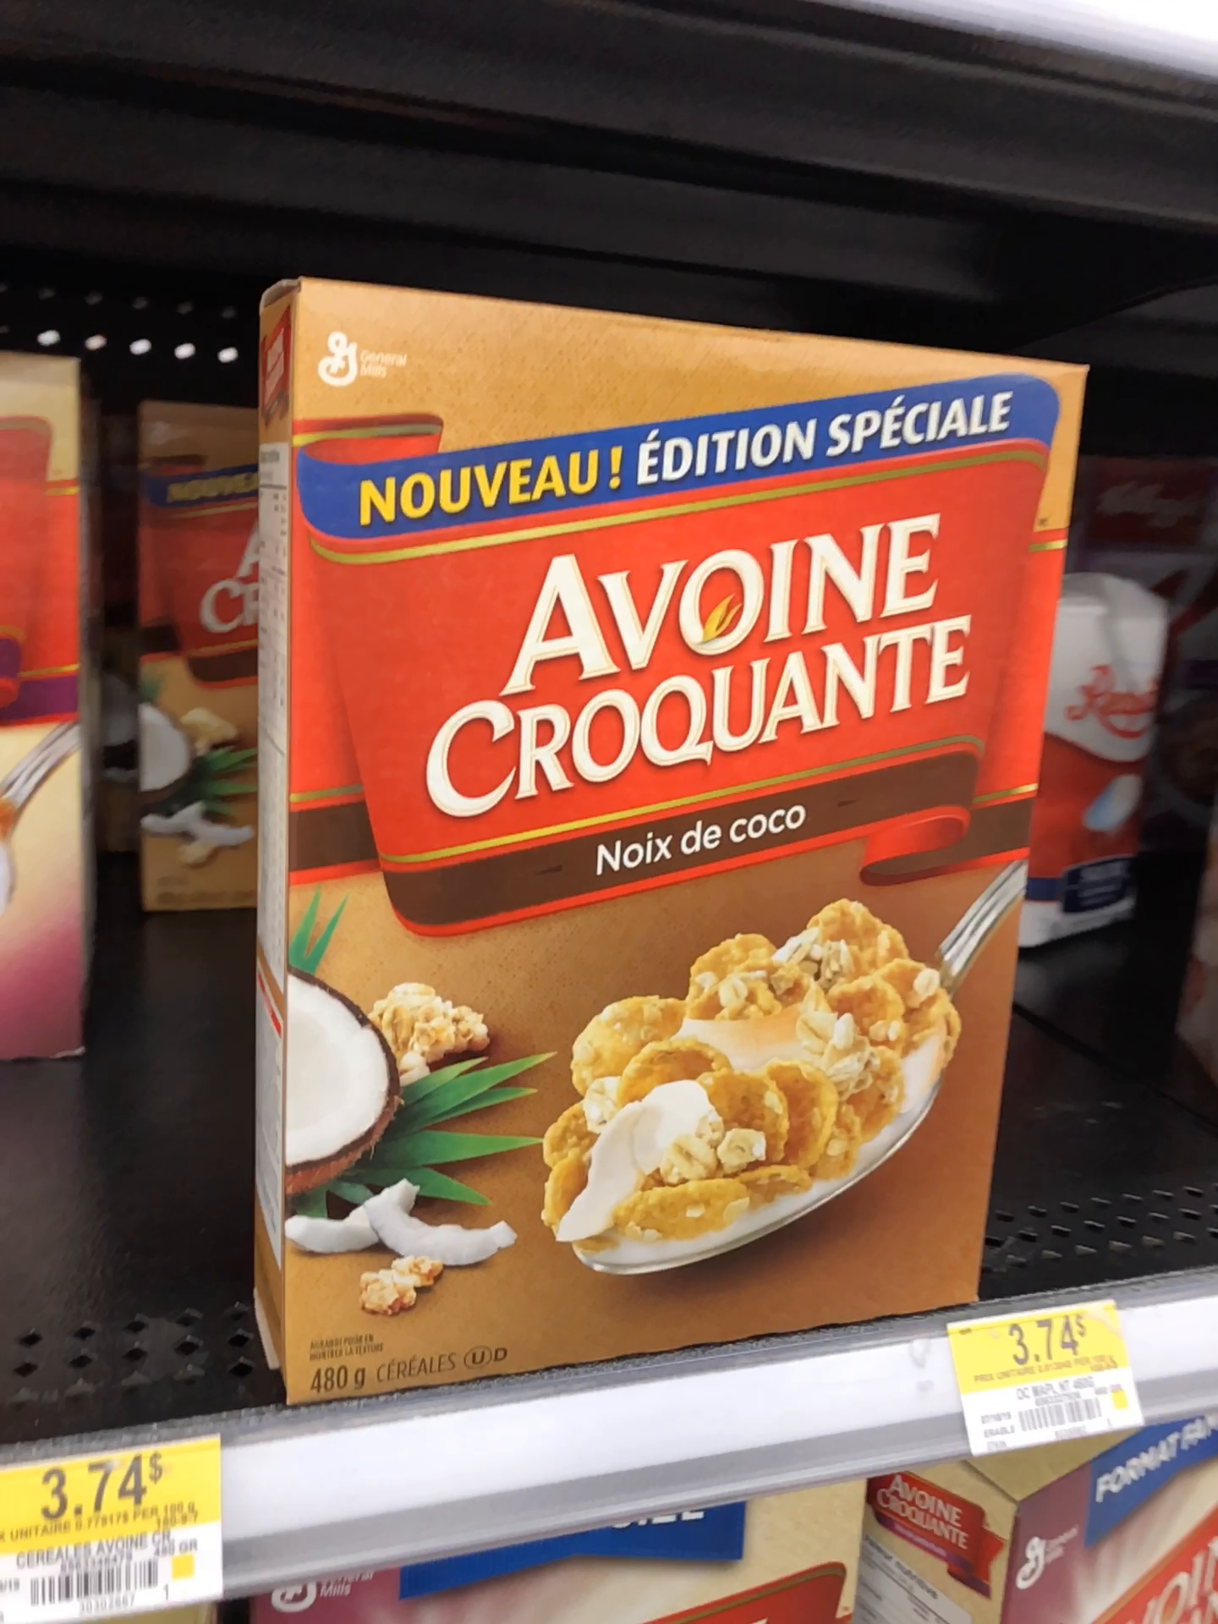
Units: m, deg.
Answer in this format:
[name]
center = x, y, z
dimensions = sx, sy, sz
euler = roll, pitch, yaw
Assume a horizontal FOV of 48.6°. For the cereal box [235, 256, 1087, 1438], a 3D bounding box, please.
[cereal box]
center = 0.008, 0.013, 0.354
dimensions = 0.200, 0.269, 0.050
euler = 0, 12, -19
